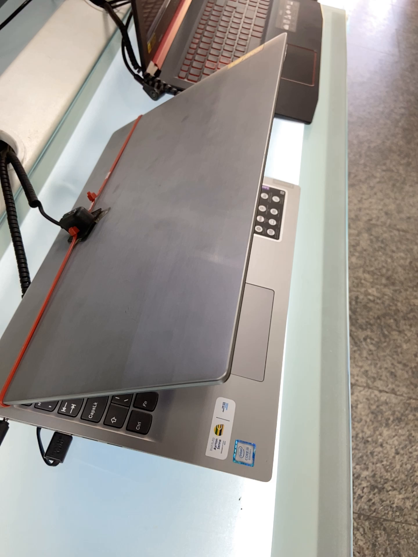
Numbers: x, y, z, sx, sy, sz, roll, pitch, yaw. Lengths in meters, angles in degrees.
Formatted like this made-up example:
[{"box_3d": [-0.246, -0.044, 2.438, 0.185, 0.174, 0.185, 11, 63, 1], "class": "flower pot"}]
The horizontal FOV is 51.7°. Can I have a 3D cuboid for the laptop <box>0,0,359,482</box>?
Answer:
[{"box_3d": [-0.023, -0.055, 0.387, 0.246, 0.167, 0.363, 14, 54, -2], "class": "laptop"}]
